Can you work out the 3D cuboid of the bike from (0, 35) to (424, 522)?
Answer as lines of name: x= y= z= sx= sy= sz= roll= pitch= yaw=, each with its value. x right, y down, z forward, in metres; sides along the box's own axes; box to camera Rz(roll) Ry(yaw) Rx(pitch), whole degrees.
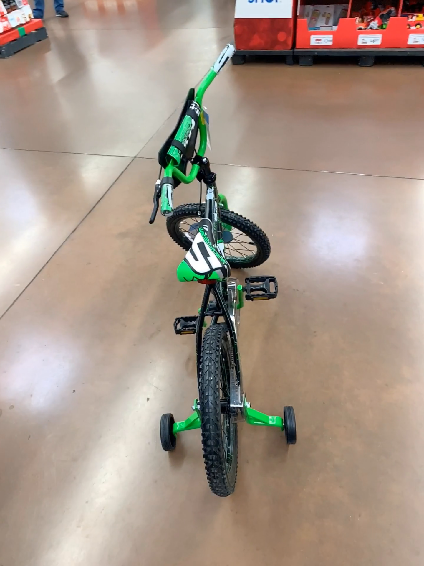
bike: x=-0.090 y=-0.048 z=1.260 sx=0.635 sy=0.914 sz=1.056 roll=-10 pitch=43 yaw=-4
